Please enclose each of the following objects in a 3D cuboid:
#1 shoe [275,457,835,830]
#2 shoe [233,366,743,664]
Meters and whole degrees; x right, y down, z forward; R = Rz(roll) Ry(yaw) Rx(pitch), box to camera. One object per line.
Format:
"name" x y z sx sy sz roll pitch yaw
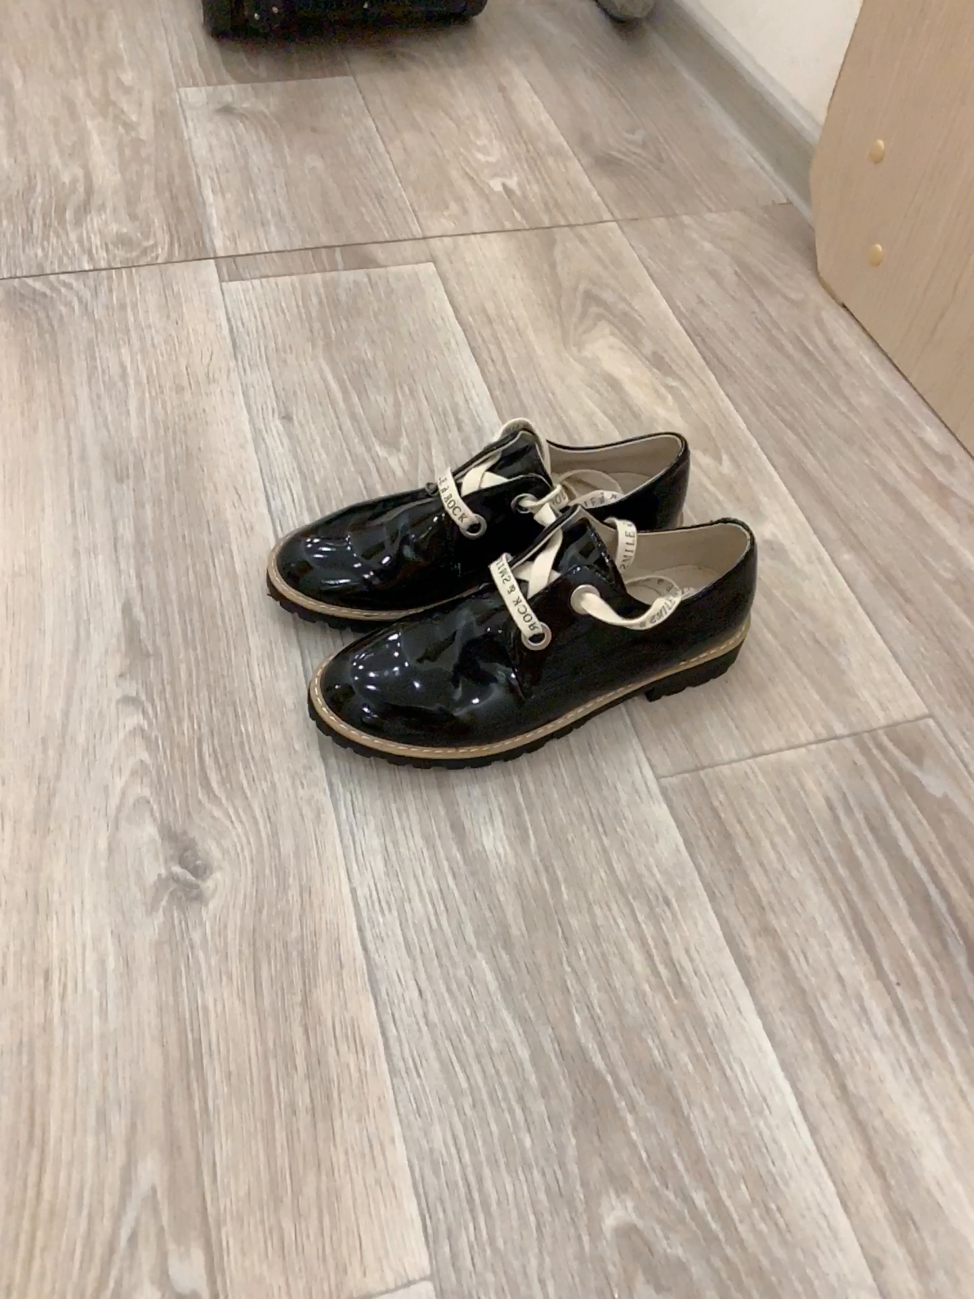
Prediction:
"shoe" 0.034 -0.008 0.552 0.270 0.100 0.100 -16 56 -16
"shoe" -0.003 -0.083 0.602 0.270 0.100 0.100 -10 54 -12
